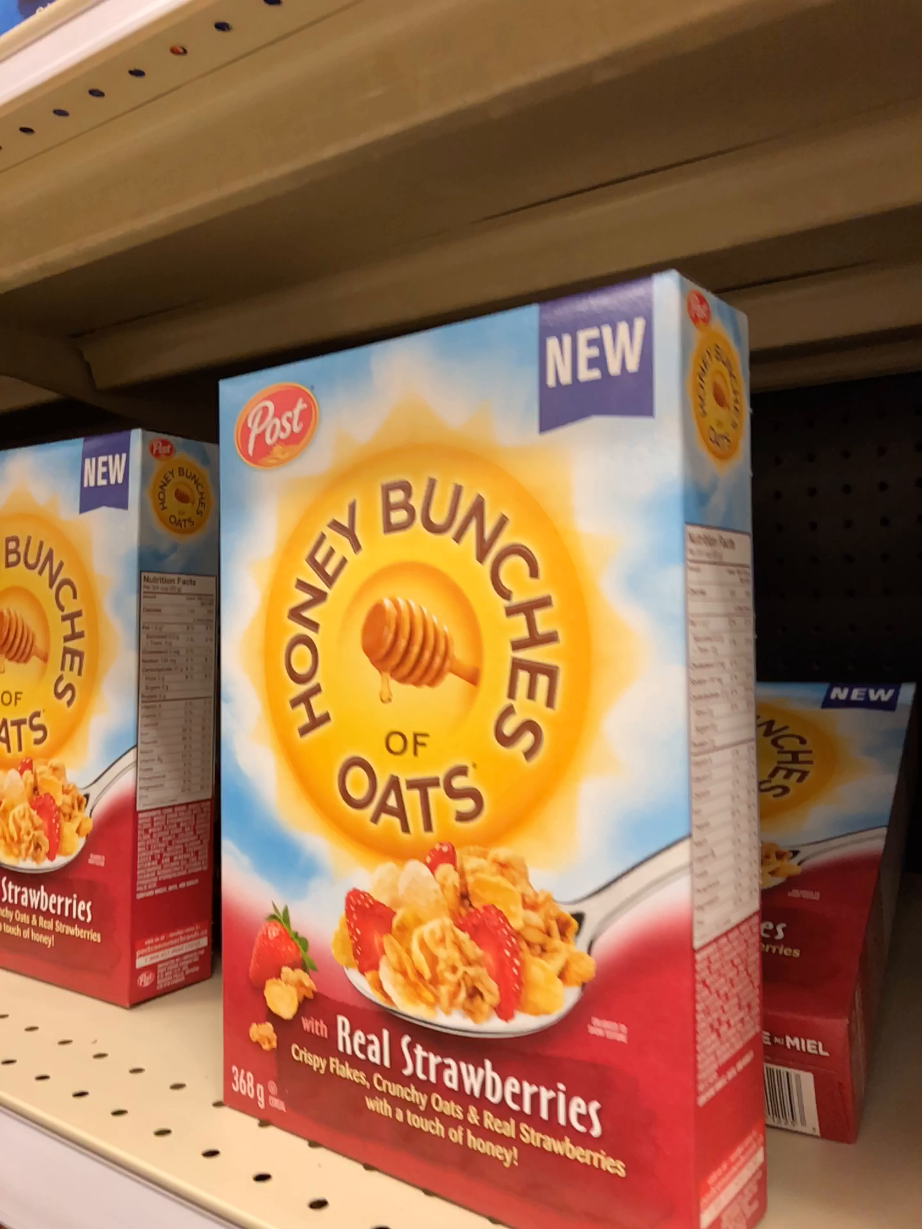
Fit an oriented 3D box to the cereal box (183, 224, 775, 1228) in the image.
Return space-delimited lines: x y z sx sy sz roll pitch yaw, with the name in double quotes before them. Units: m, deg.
"cereal box" -0.007 0.038 0.333 0.200 0.270 0.050 -1 -1 38
